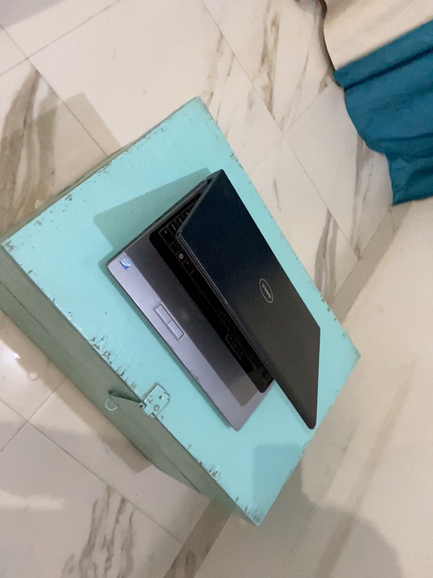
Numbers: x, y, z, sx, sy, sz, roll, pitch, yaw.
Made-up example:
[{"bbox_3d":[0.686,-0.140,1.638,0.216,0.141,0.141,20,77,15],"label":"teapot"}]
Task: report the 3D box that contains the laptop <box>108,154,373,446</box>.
[{"bbox_3d":[0.062,0.024,0.755,0.261,0.152,0.388,-47,114,-27],"label":"laptop"}]
